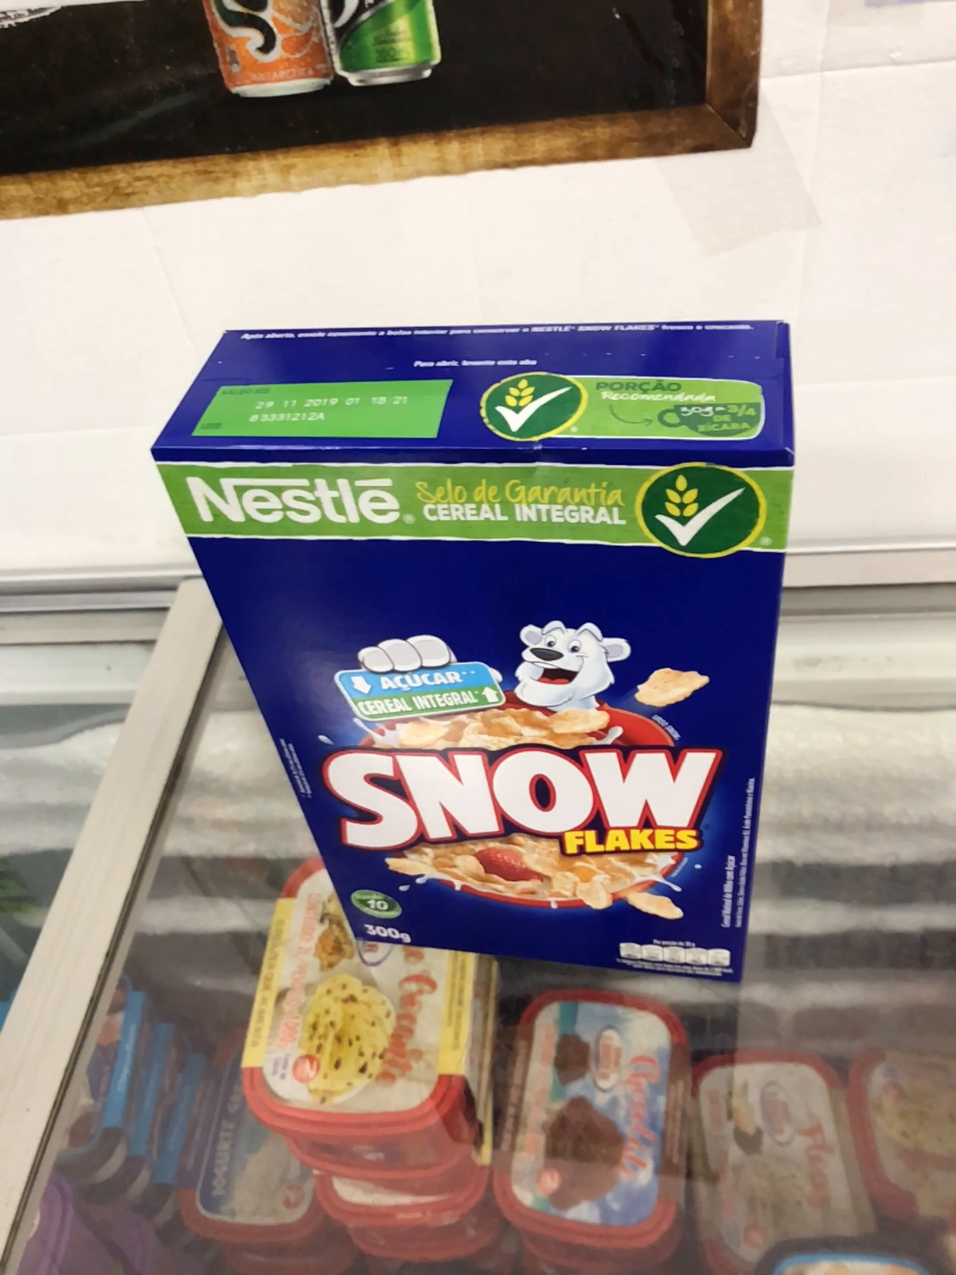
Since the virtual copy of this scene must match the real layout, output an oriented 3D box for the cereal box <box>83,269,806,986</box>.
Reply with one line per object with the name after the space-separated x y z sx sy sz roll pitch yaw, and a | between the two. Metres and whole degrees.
0.009 0.016 0.358 0.170 0.258 0.070 3 47 12 | cereal box
